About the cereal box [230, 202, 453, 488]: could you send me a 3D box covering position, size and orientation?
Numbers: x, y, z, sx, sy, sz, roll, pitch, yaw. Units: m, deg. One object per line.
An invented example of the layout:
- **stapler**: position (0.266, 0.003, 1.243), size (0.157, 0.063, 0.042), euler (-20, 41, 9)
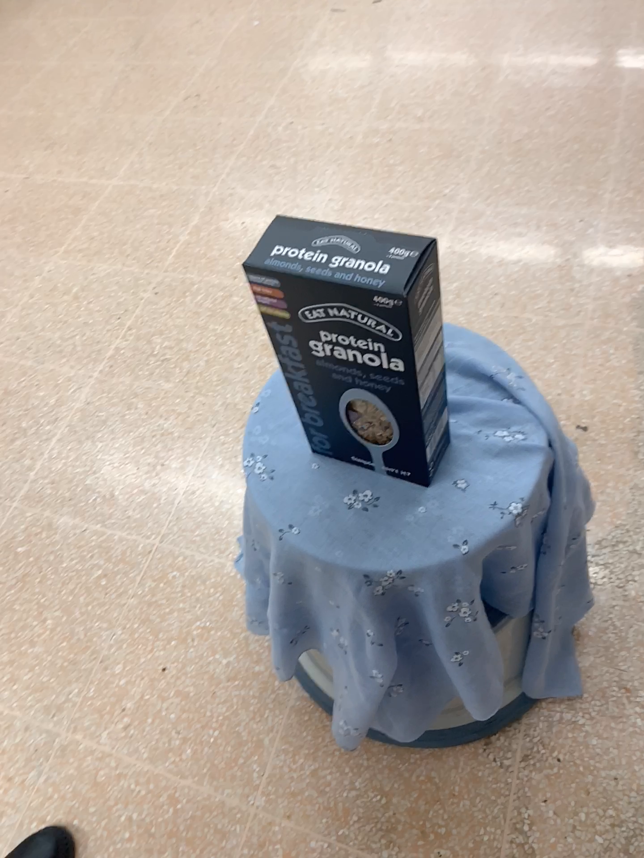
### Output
- **cereal box**: position (0.031, -0.056, 0.538), size (0.130, 0.238, 0.070), euler (16, 61, 21)
